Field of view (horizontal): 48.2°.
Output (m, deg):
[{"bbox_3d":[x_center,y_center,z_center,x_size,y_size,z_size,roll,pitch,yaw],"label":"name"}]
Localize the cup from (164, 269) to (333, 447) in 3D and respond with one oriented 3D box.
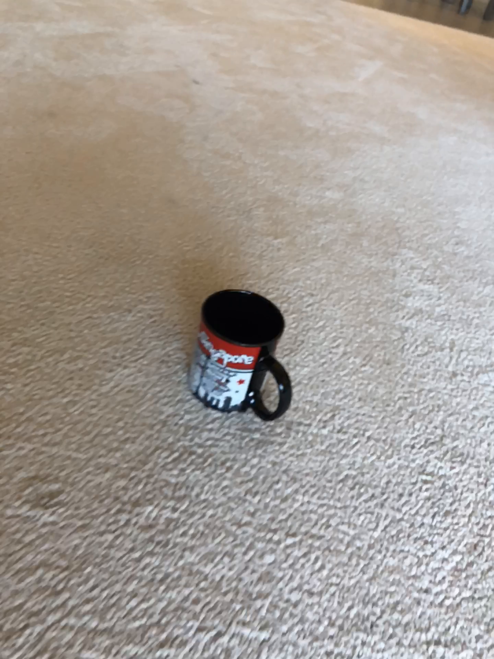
[{"bbox_3d":[-0.005,0.022,0.534,0.090,0.090,0.130,-16,48,-33],"label":"cup"}]
